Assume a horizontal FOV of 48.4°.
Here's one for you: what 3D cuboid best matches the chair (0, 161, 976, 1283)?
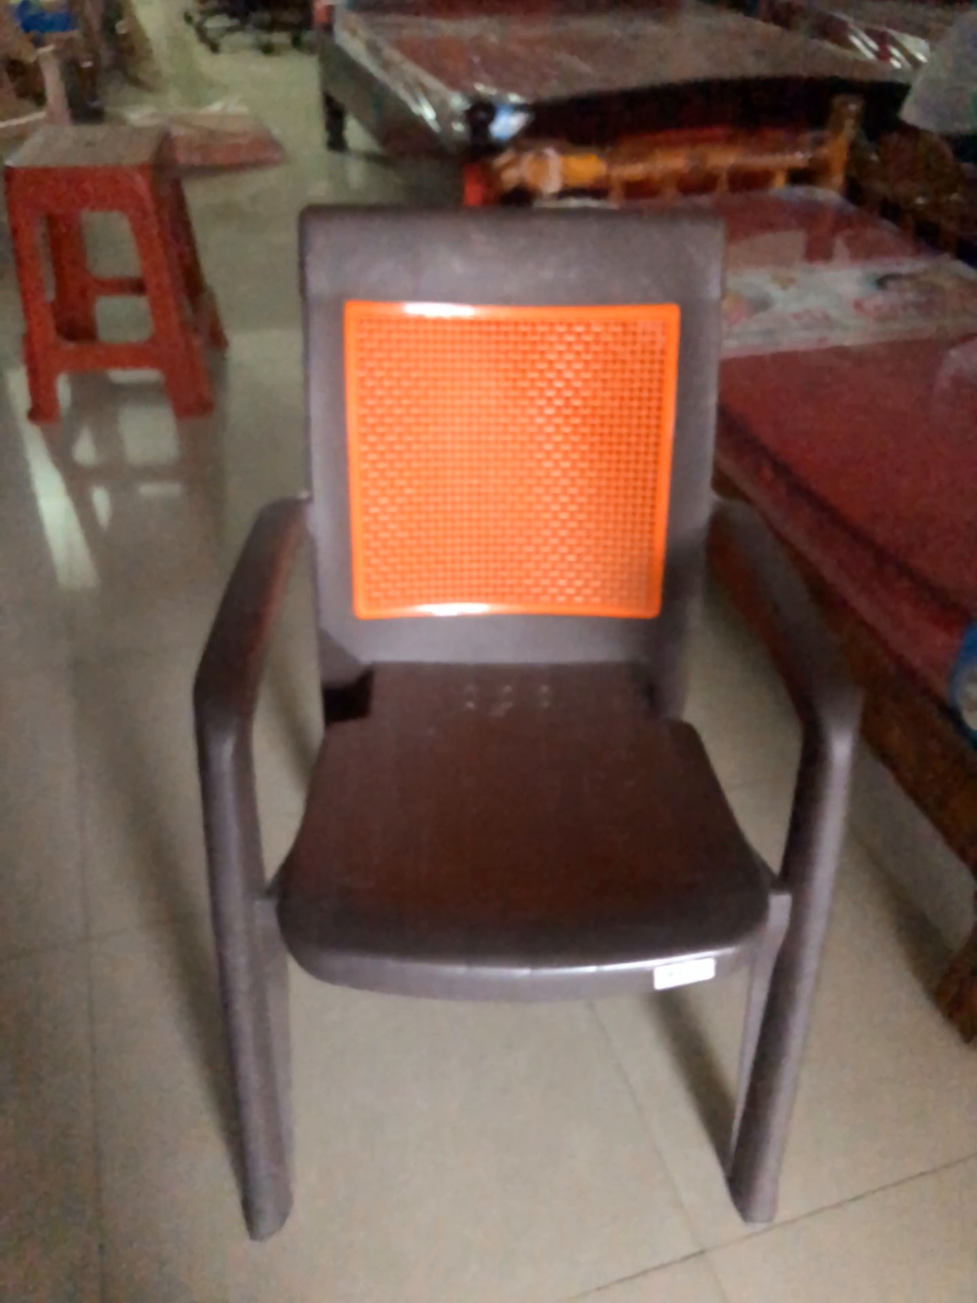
[{"bbox_3d":[-0.016,0.075,1.160,0.710,0.935,0.713,-1,38,-3],"label":"chair"}]
